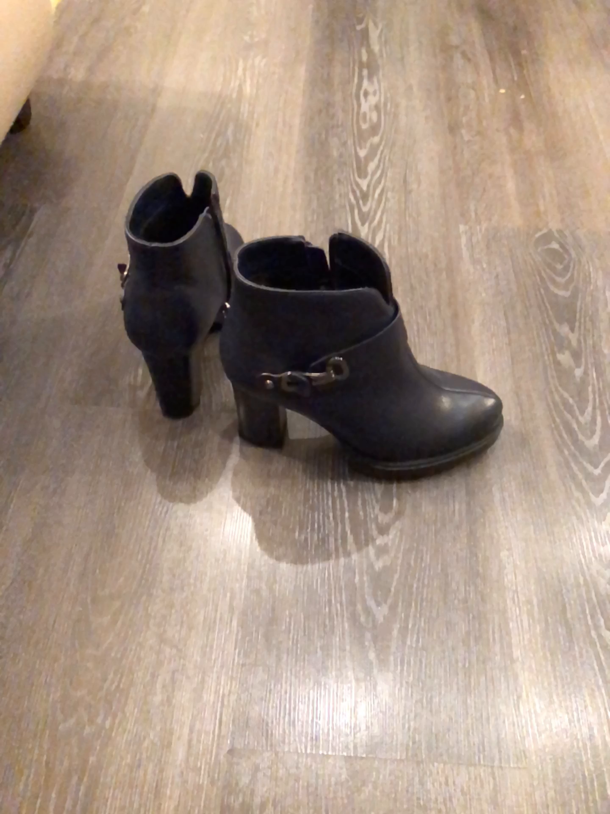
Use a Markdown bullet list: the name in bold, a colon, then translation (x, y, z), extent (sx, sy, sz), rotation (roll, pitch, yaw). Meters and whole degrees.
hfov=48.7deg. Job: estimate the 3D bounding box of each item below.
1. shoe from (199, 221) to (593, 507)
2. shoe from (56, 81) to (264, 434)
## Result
- **shoe**: translation (0.055, -0.022, 0.502), extent (0.230, 0.199, 0.091), rotation (4, 53, 3)
- **shoe**: translation (-0.101, -0.127, 0.571), extent (0.090, 0.179, 0.231), rotation (6, 53, 4)
